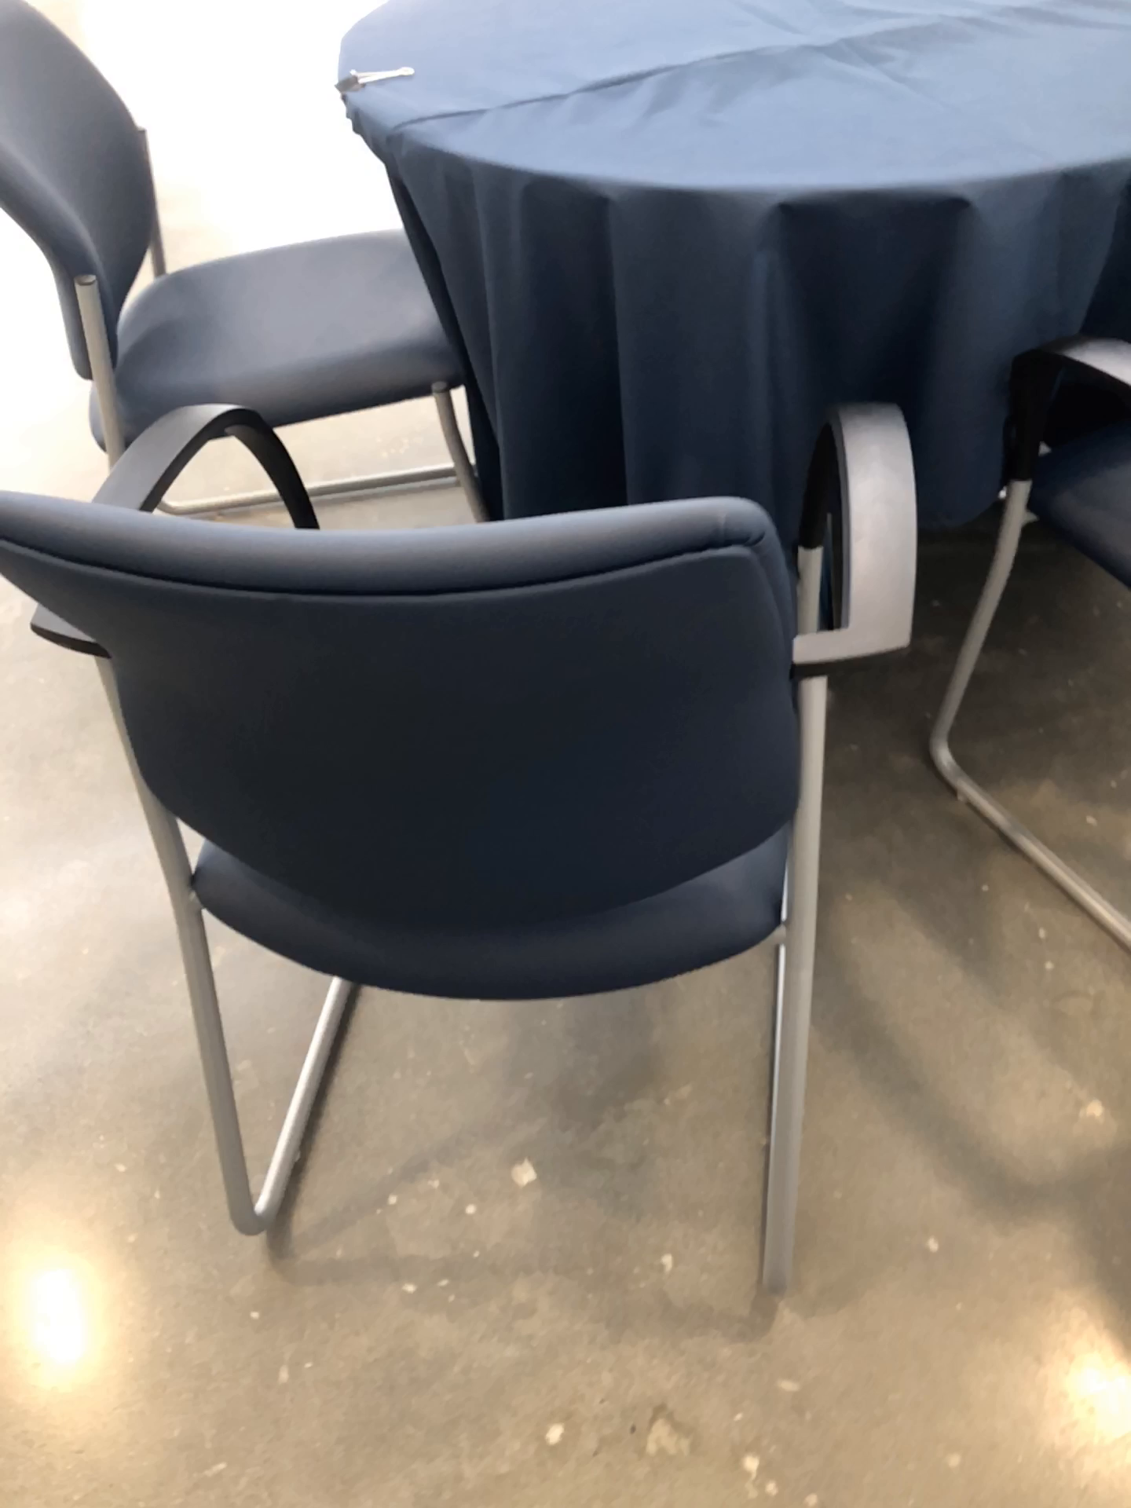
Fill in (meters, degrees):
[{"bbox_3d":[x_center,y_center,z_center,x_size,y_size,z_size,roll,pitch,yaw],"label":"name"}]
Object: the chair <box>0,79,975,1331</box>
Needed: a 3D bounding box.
[{"bbox_3d":[-0.064,-0.036,1.065,0.640,0.765,0.674,2,45,10],"label":"chair"}]
